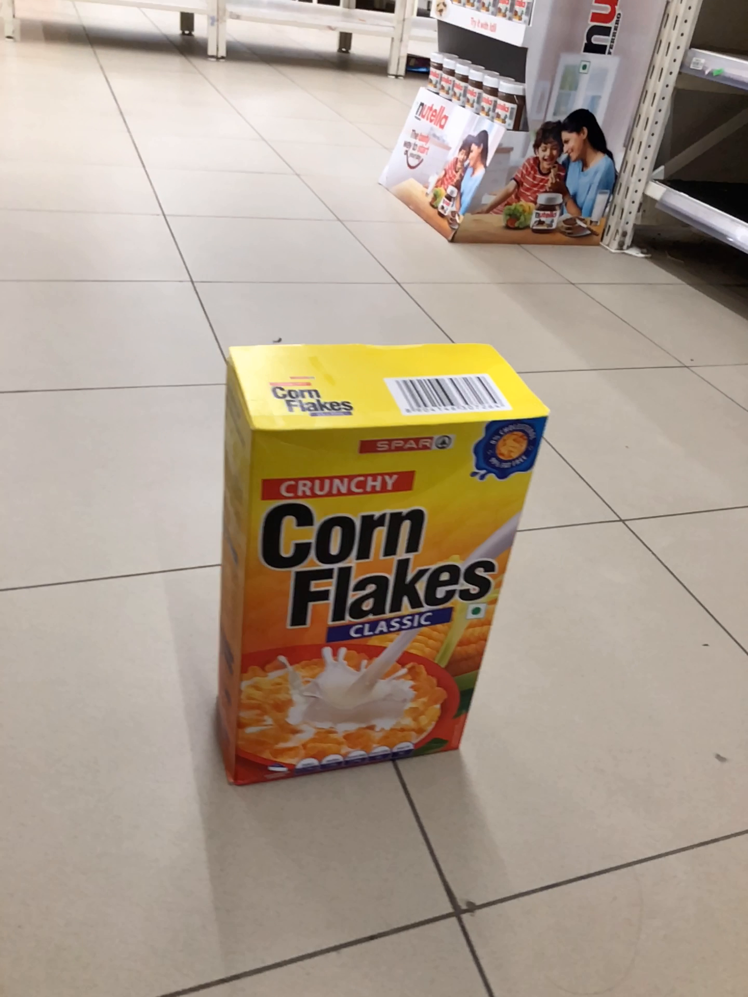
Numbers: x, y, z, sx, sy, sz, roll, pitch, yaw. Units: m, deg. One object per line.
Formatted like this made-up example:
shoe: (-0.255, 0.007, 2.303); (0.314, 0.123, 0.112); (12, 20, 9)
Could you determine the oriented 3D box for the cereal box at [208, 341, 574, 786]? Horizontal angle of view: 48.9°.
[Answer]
cereal box: (-0.007, 0.049, 0.584); (0.200, 0.298, 0.100); (-4, 35, -19)
